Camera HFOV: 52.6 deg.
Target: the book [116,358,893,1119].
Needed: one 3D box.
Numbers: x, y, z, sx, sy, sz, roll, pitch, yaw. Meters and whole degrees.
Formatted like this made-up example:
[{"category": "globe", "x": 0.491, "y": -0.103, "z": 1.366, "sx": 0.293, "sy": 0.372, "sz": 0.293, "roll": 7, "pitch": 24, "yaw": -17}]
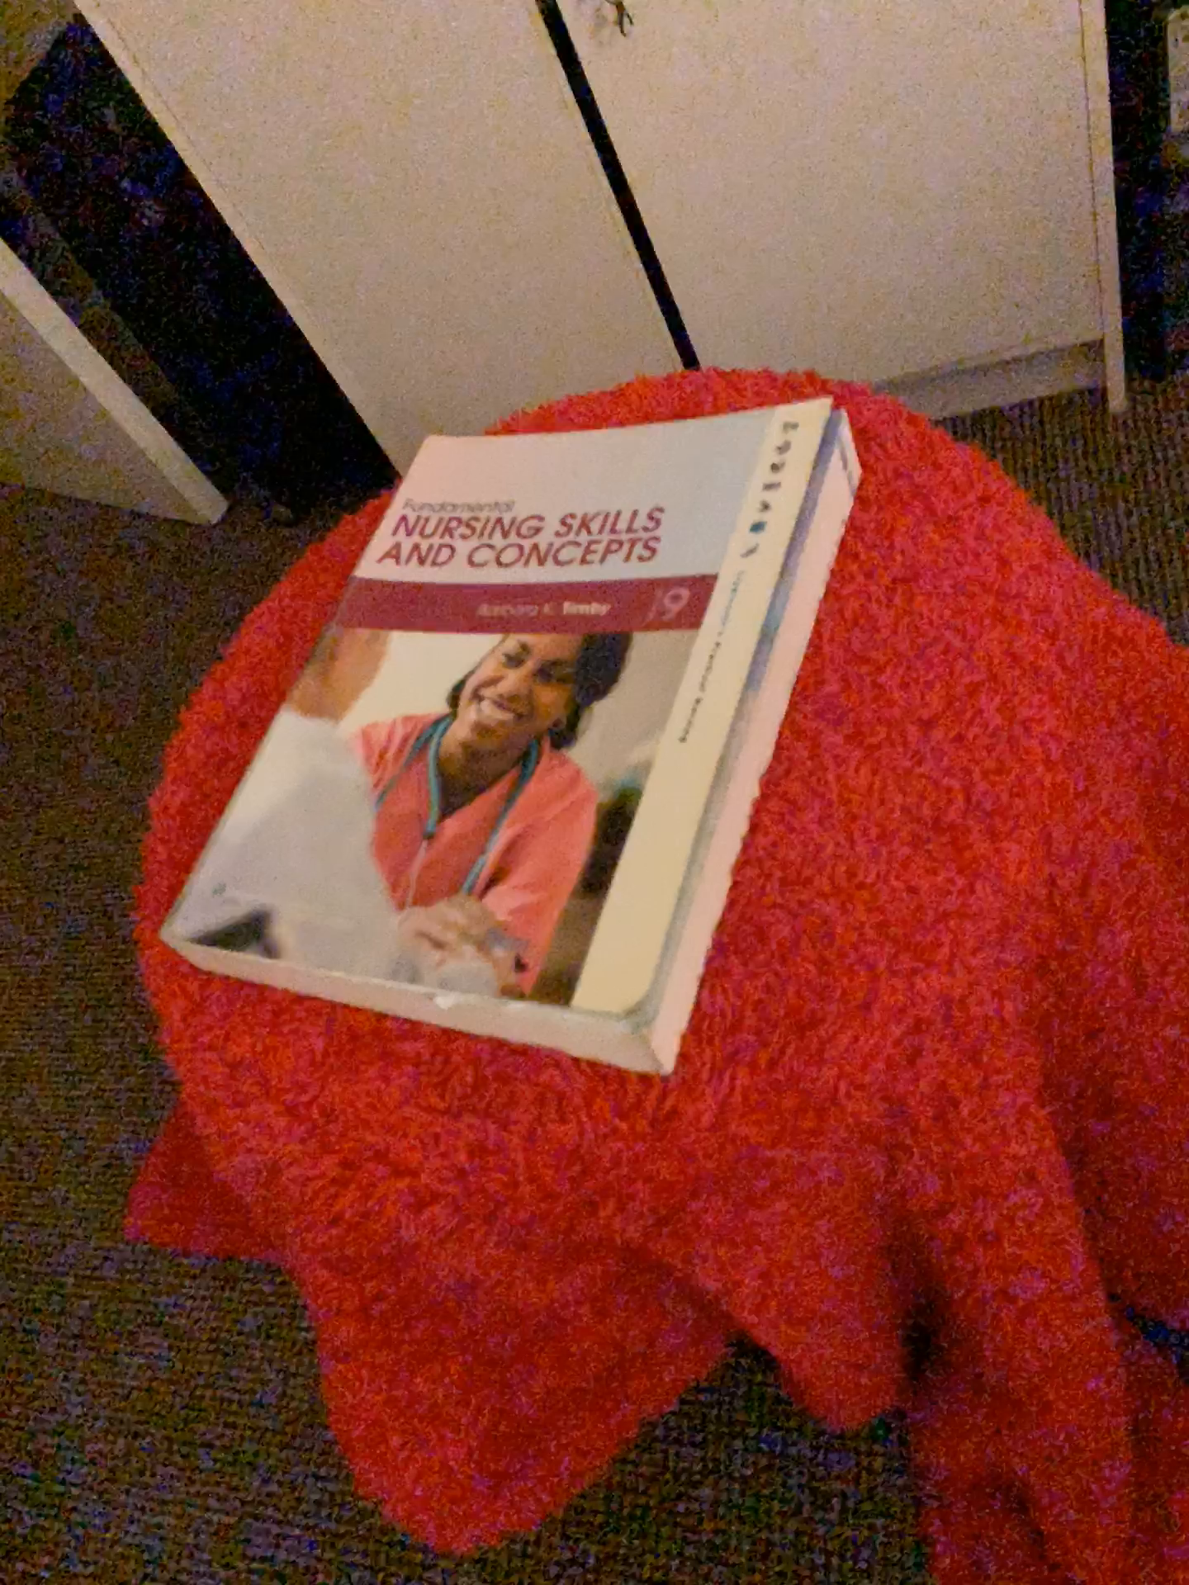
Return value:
[{"category": "book", "x": -0.026, "y": -0.042, "z": 0.508, "sx": 0.231, "sy": 0.069, "sz": 0.302, "roll": 5, "pitch": 59, "yaw": 29}]
